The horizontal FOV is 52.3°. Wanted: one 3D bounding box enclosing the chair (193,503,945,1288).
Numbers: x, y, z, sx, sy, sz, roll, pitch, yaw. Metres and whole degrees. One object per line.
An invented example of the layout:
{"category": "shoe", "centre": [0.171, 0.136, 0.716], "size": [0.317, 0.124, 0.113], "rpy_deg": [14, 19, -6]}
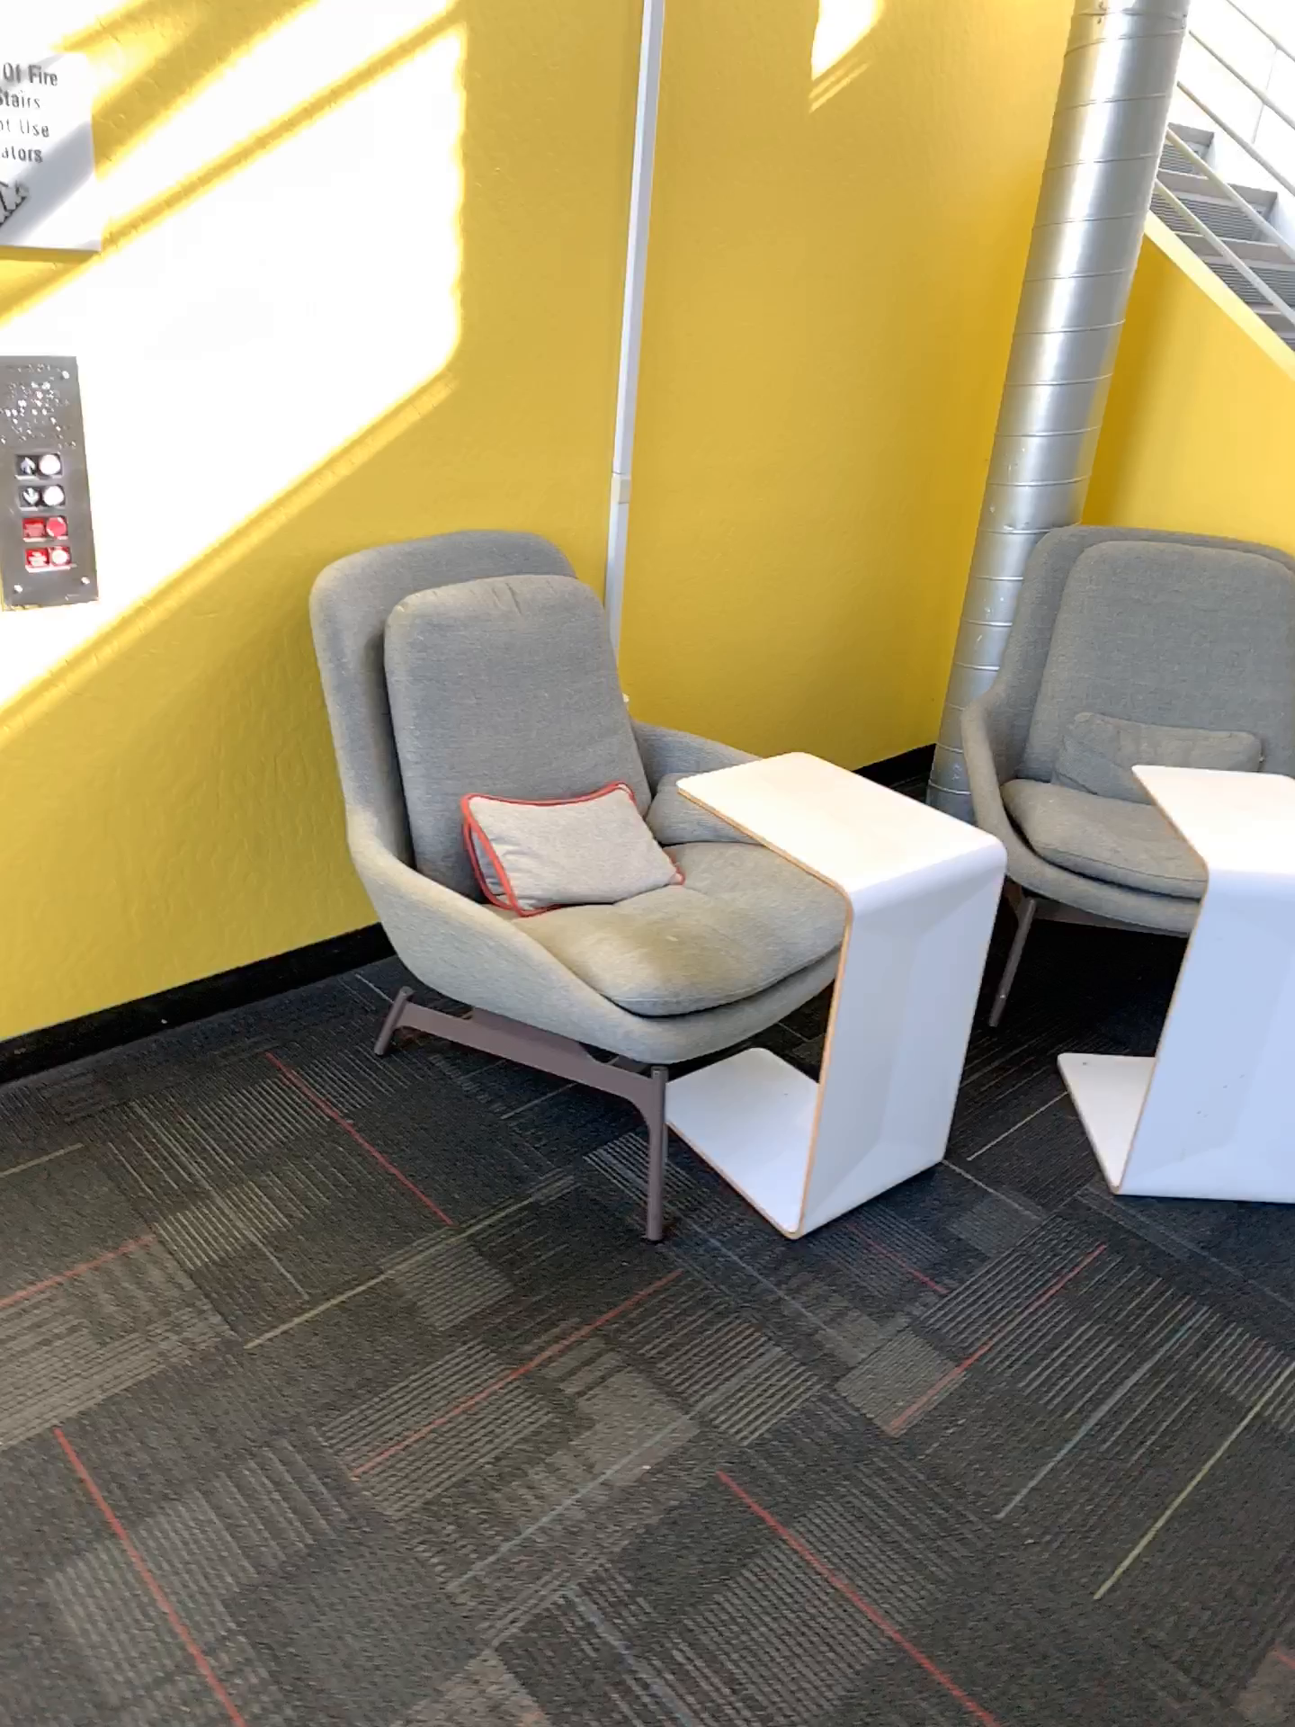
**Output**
{"category": "chair", "centre": [-0.129, -0.051, 2.256], "size": [0.873, 0.925, 0.802], "rpy_deg": [19, 28, 34]}

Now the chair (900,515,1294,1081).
{"category": "chair", "centre": [1.147, -0.201, 3.070], "size": [0.890, 1.015, 0.844], "rpy_deg": [5, 22, 3]}
